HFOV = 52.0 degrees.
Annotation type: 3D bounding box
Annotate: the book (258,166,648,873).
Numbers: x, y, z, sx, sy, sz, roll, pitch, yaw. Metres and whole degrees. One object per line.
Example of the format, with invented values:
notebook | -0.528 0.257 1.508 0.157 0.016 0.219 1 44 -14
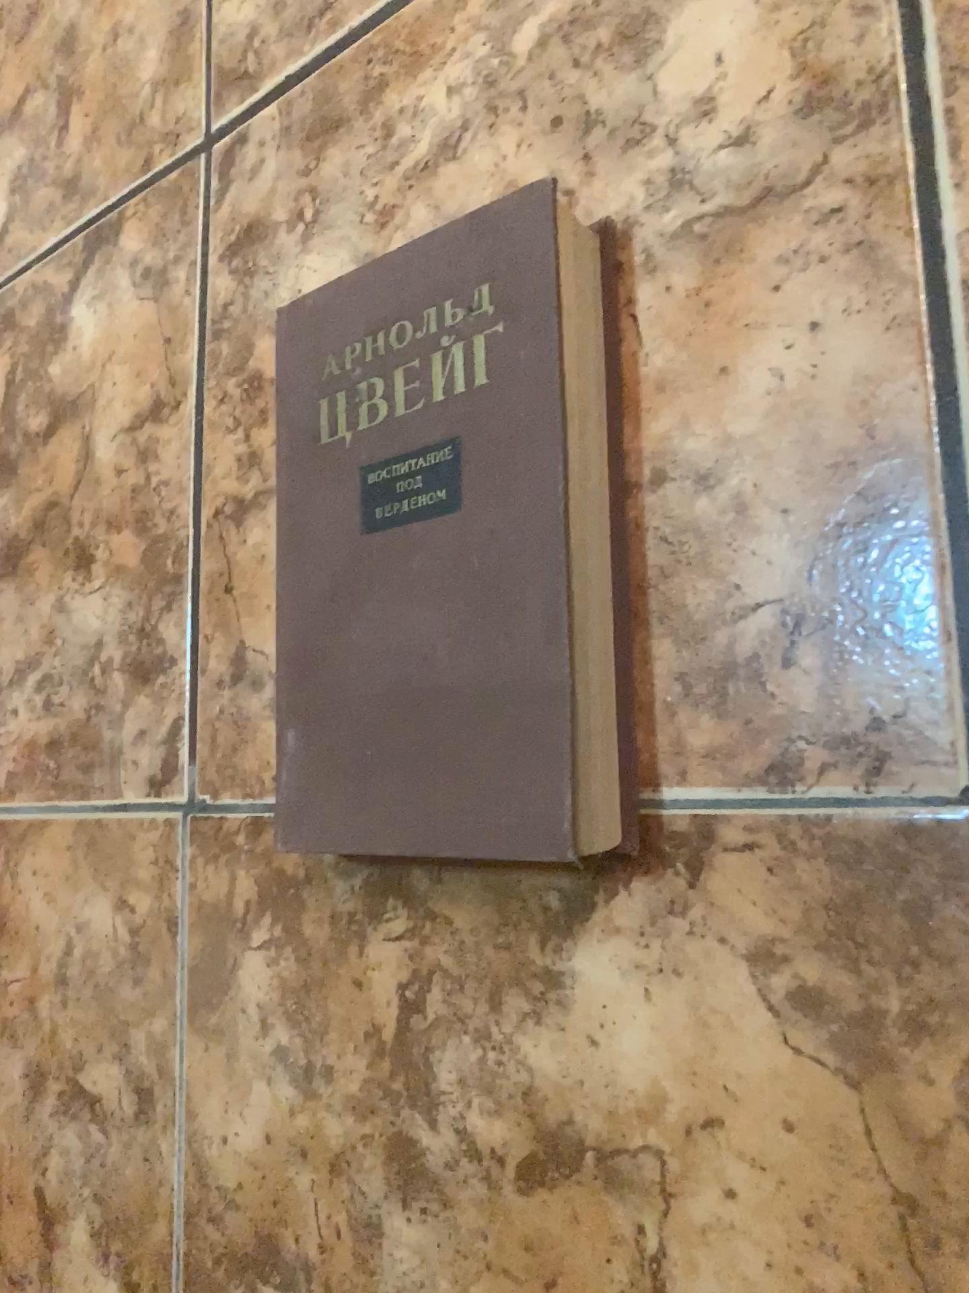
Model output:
book | -0.018 -0.032 0.338 0.140 0.034 0.205 -7 80 39
